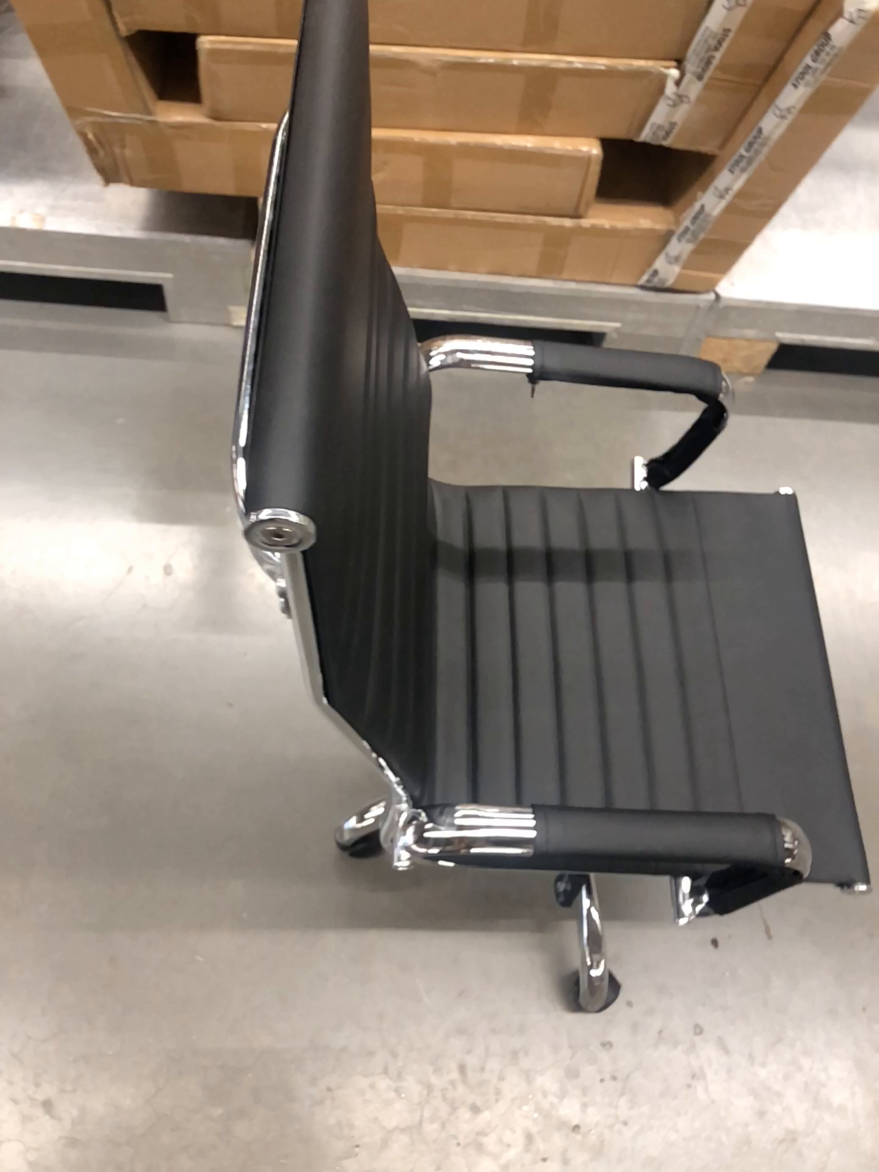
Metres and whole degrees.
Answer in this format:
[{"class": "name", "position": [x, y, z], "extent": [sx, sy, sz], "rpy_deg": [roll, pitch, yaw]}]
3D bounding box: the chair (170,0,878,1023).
[{"class": "chair", "position": [0.219, 0.021, 1.022], "extent": [0.740, 1.095, 0.673], "rpy_deg": [4, 60, -5]}]
